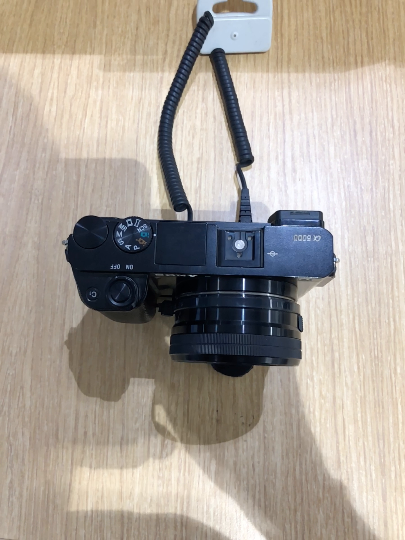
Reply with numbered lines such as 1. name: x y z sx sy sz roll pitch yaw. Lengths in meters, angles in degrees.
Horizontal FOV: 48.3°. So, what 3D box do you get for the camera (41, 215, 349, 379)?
1. camera: -0.002 0.016 0.198 0.107 0.070 0.059 1 76 1
